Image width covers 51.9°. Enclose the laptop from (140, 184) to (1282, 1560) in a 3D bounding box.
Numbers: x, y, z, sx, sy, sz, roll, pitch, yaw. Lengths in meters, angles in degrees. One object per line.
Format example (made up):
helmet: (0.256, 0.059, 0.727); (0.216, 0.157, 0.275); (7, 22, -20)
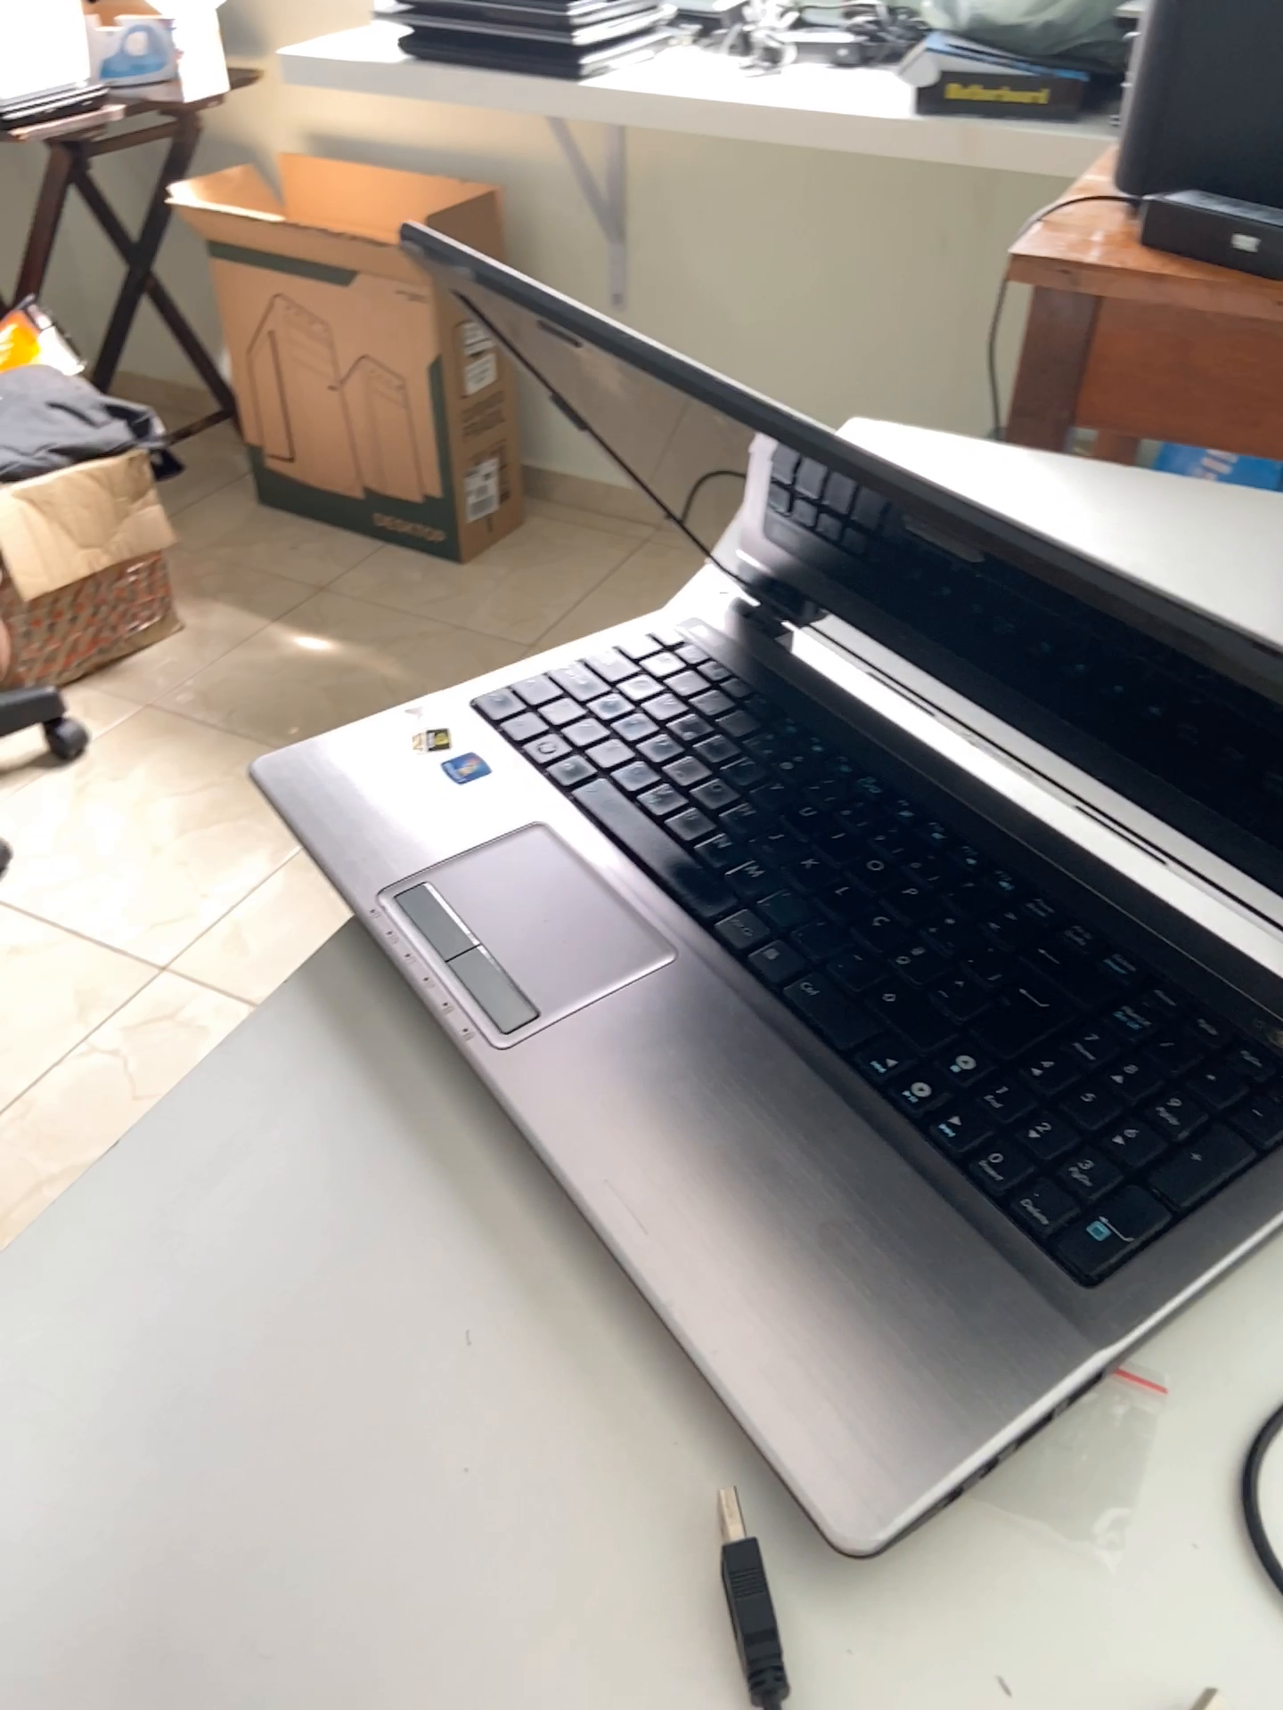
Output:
laptop: (0.043, -0.056, 0.418); (0.246, 0.182, 0.378); (-24, 44, -25)
